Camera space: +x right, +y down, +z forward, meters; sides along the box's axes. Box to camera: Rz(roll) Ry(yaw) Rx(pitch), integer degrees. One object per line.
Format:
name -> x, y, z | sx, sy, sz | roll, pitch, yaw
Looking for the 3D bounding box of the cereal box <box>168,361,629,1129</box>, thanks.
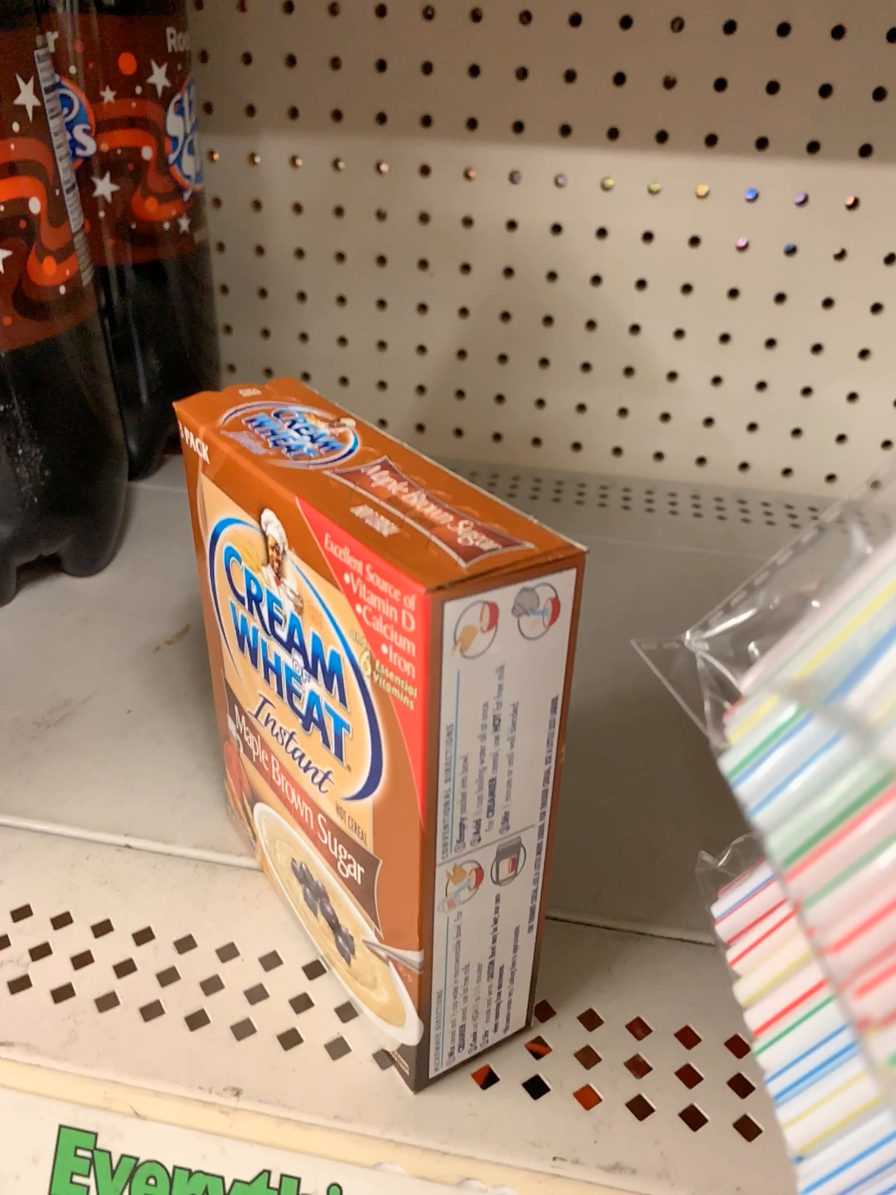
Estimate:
cereal box -> -0.021, 0.033, 0.238 | 0.040, 0.149, 0.120 | -19, 37, -30
